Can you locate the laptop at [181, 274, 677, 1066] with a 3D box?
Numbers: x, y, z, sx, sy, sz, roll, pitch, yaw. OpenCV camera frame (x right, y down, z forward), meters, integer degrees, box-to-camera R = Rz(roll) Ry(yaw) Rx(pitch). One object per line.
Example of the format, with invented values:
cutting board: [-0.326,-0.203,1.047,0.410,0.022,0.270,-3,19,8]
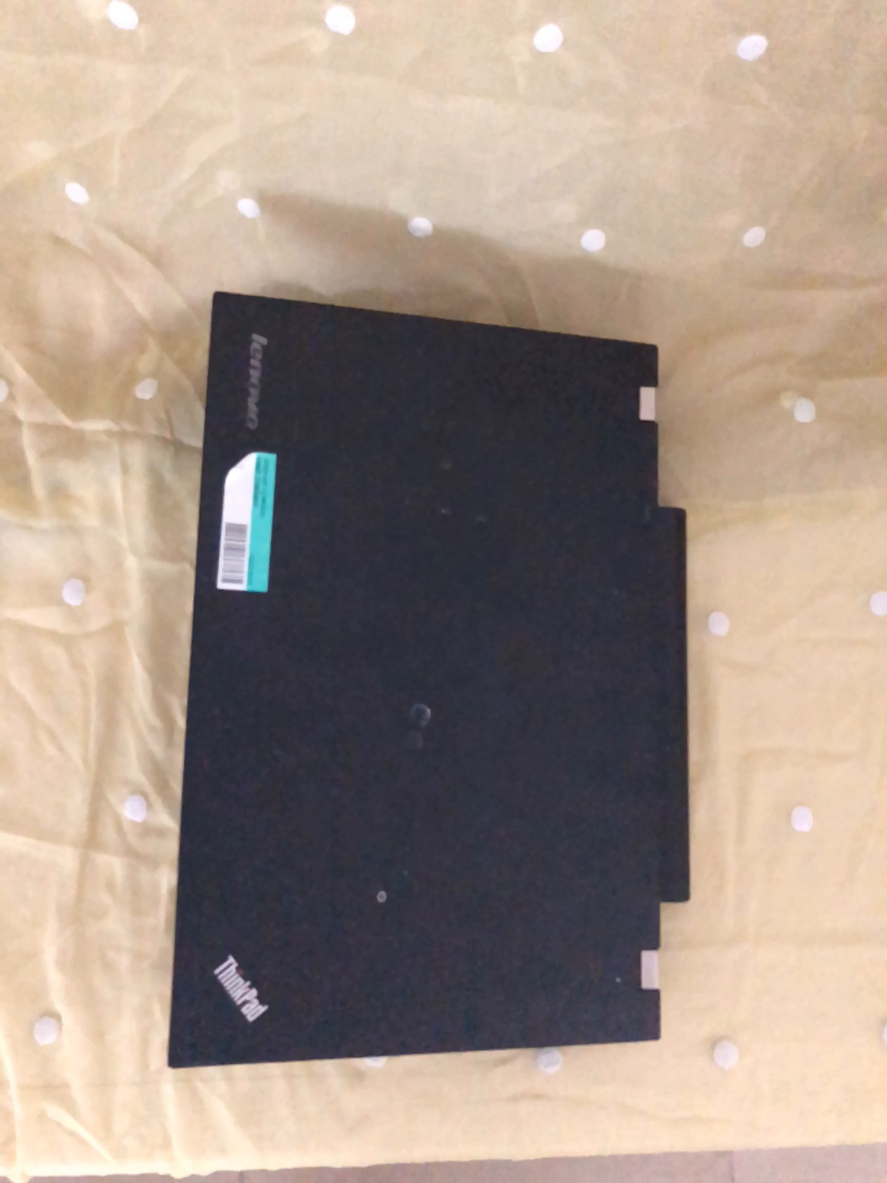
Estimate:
laptop: [-0.003,0.033,0.496,0.225,0.050,0.356,3,83,0]
